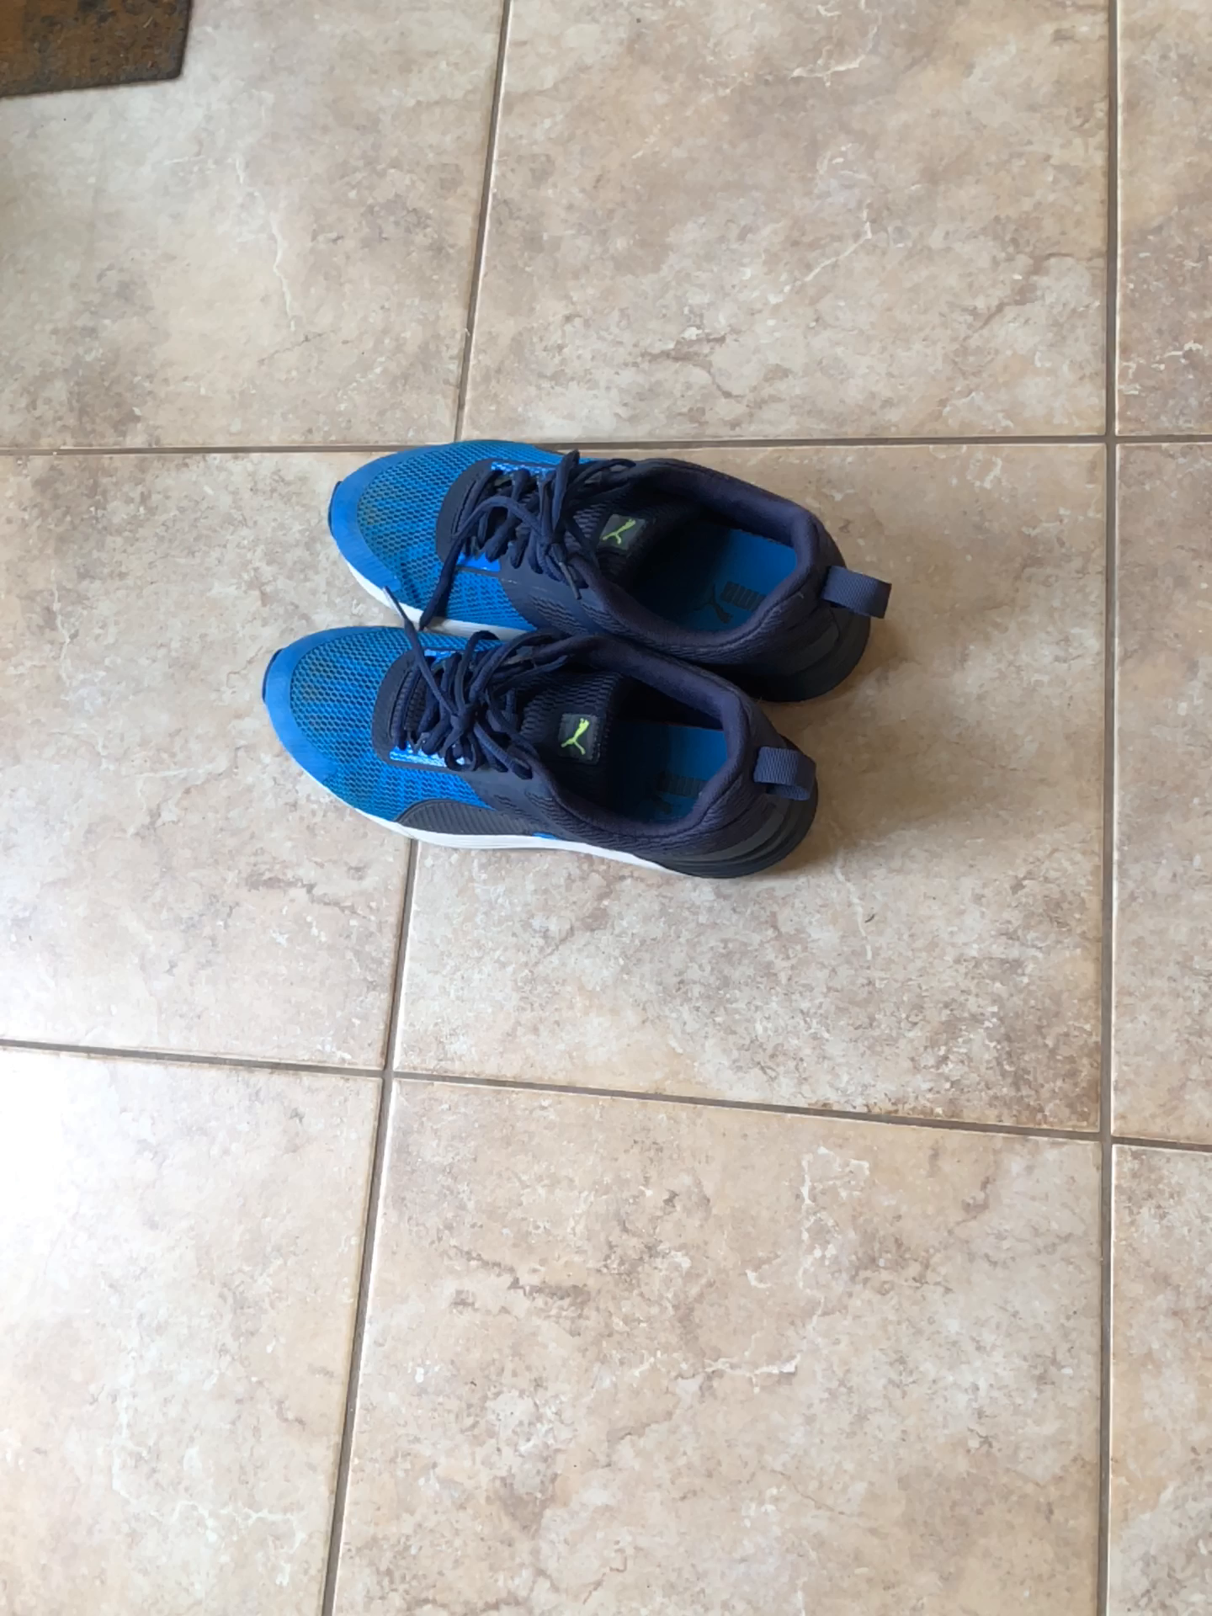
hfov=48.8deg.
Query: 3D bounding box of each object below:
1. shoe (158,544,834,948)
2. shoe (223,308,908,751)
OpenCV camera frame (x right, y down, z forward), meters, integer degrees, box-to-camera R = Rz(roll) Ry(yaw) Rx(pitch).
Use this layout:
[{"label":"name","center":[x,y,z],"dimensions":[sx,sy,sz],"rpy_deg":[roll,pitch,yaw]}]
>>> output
[{"label":"shoe","center":[-0.045,-0.028,0.625],"dimensions":[0.280,0.100,0.110],"rpy_deg":[13,80,13]},{"label":"shoe","center":[-0.016,-0.133,0.639],"dimensions":[0.290,0.100,0.110],"rpy_deg":[18,81,14]}]
